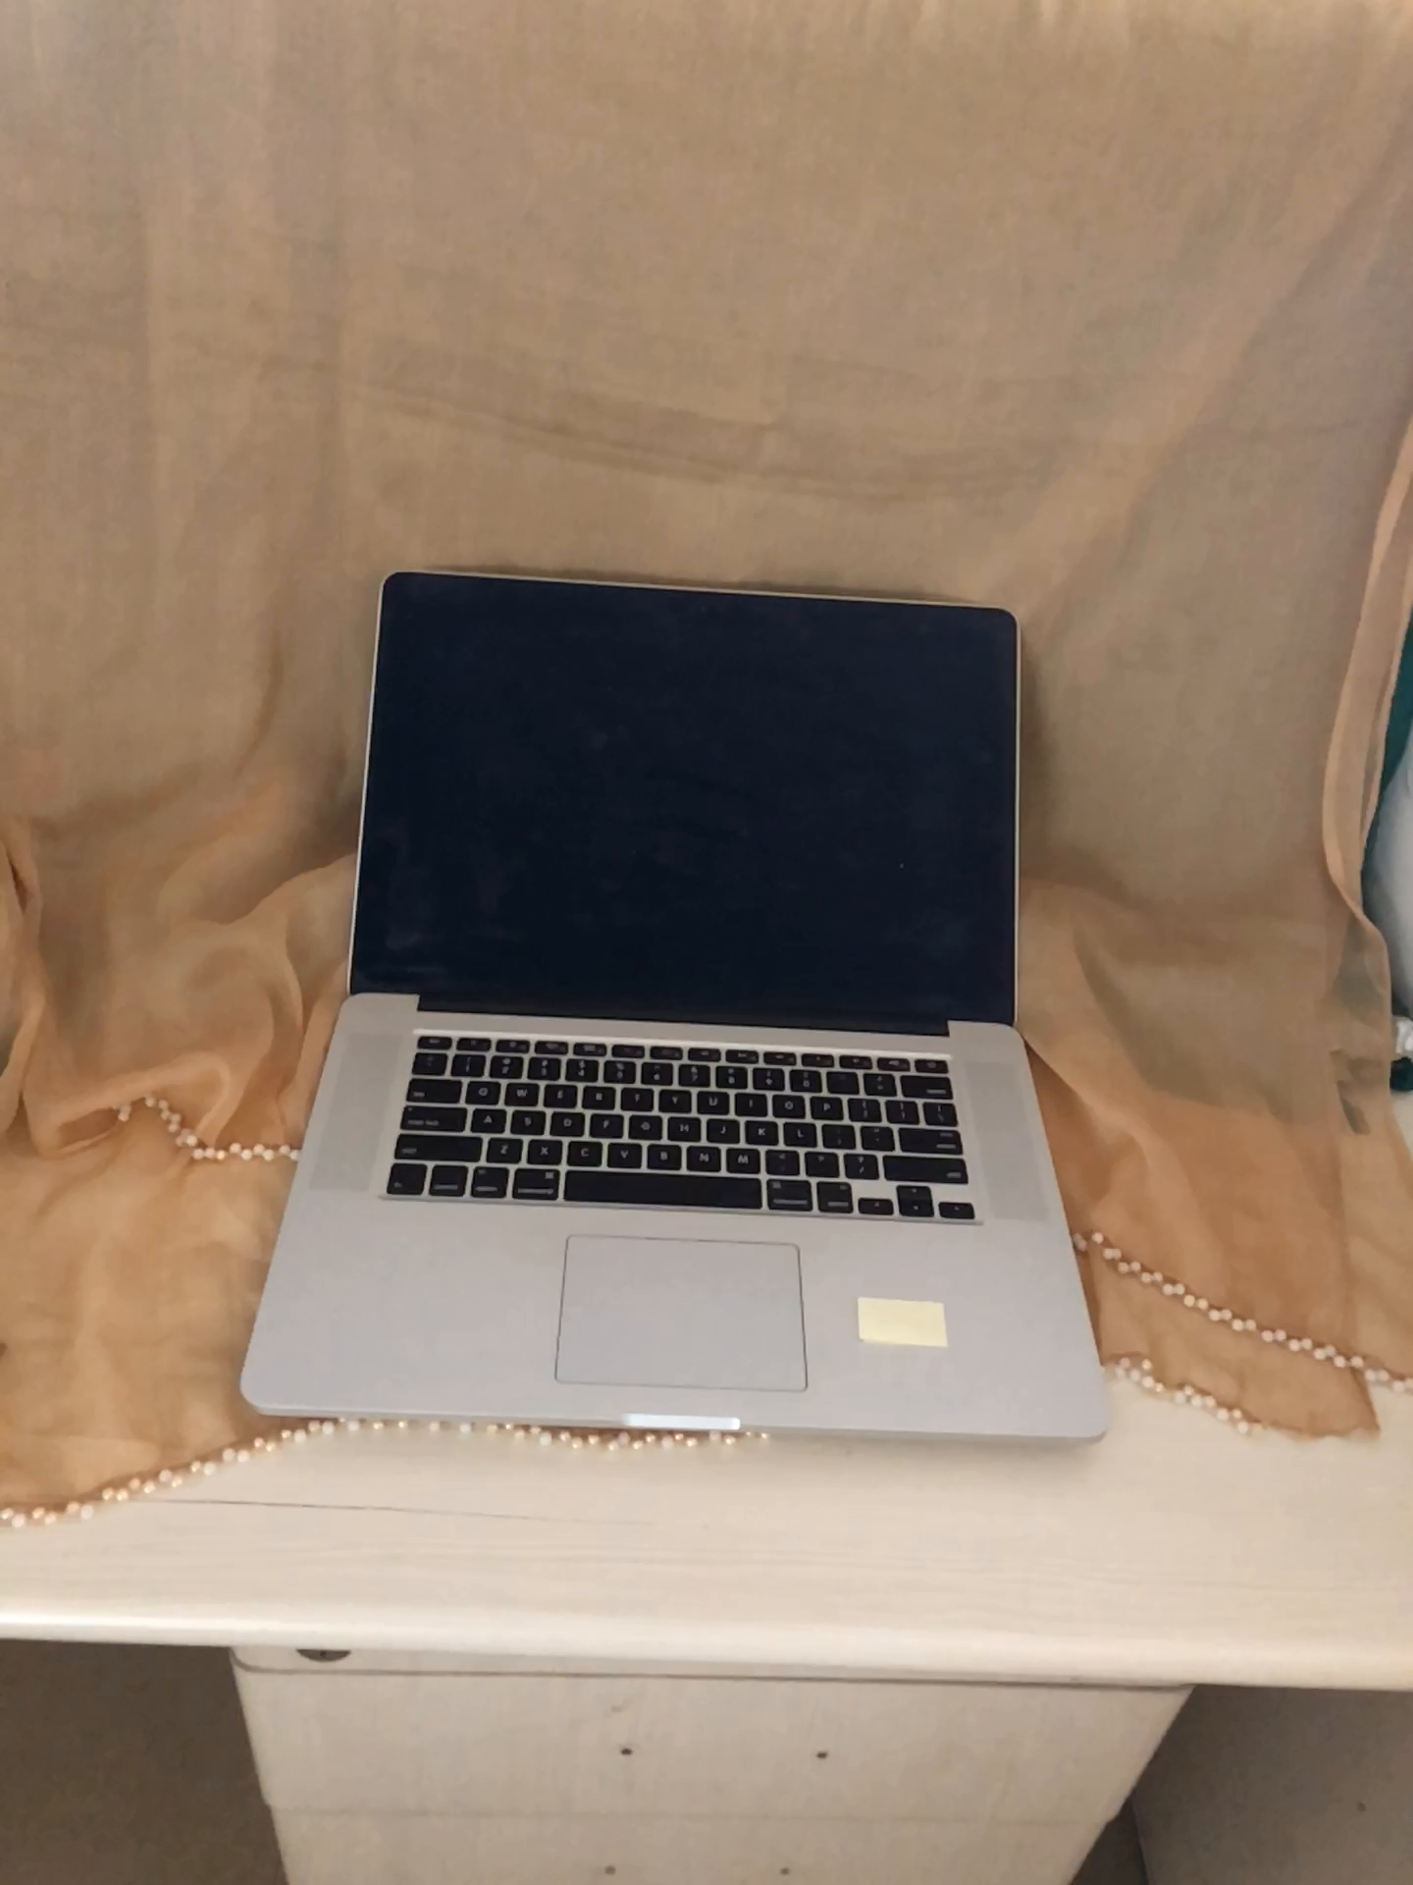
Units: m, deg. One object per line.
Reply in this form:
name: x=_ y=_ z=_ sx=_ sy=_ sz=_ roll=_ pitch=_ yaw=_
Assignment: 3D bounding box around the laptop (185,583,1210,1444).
laptop: x=-0.005 y=0.004 z=0.707 sx=0.336 sy=0.135 sz=0.408 roll=3 pitch=41 yaw=-3
